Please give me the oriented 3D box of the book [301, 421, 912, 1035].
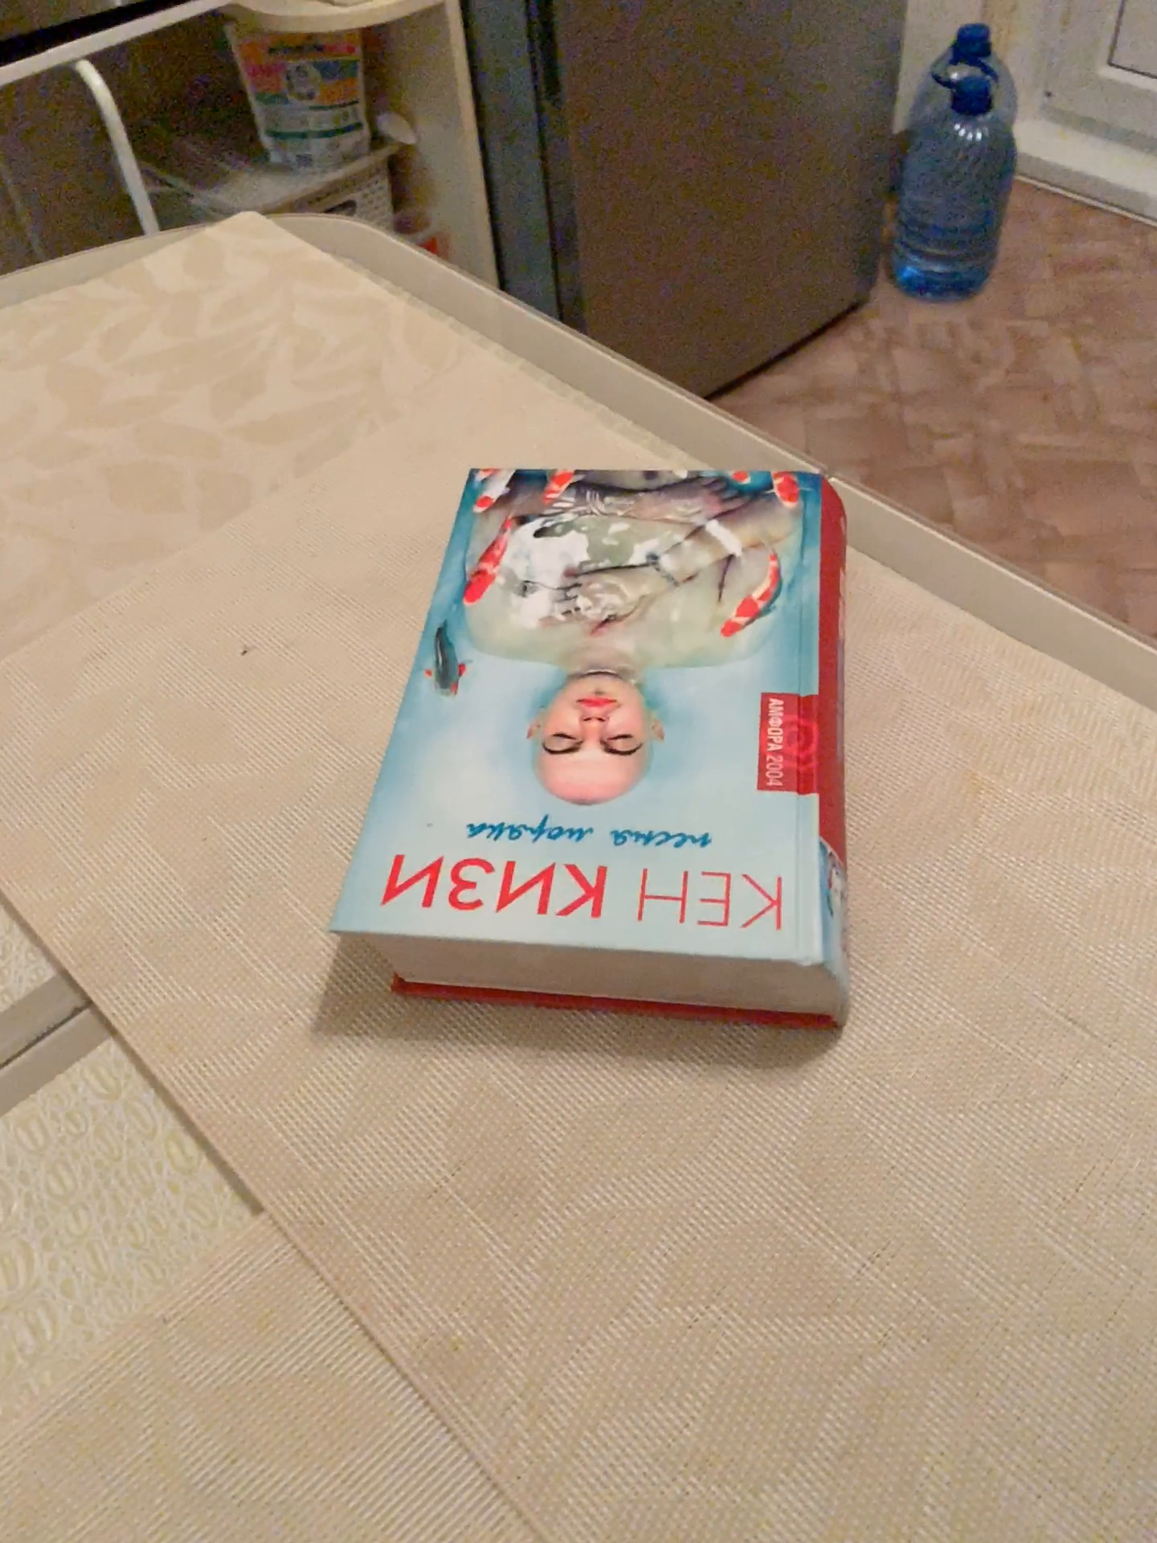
[{"bbox_3d":[0.019,-0.029,0.372,0.150,0.040,0.212,3,51,8],"label":"book"}]
